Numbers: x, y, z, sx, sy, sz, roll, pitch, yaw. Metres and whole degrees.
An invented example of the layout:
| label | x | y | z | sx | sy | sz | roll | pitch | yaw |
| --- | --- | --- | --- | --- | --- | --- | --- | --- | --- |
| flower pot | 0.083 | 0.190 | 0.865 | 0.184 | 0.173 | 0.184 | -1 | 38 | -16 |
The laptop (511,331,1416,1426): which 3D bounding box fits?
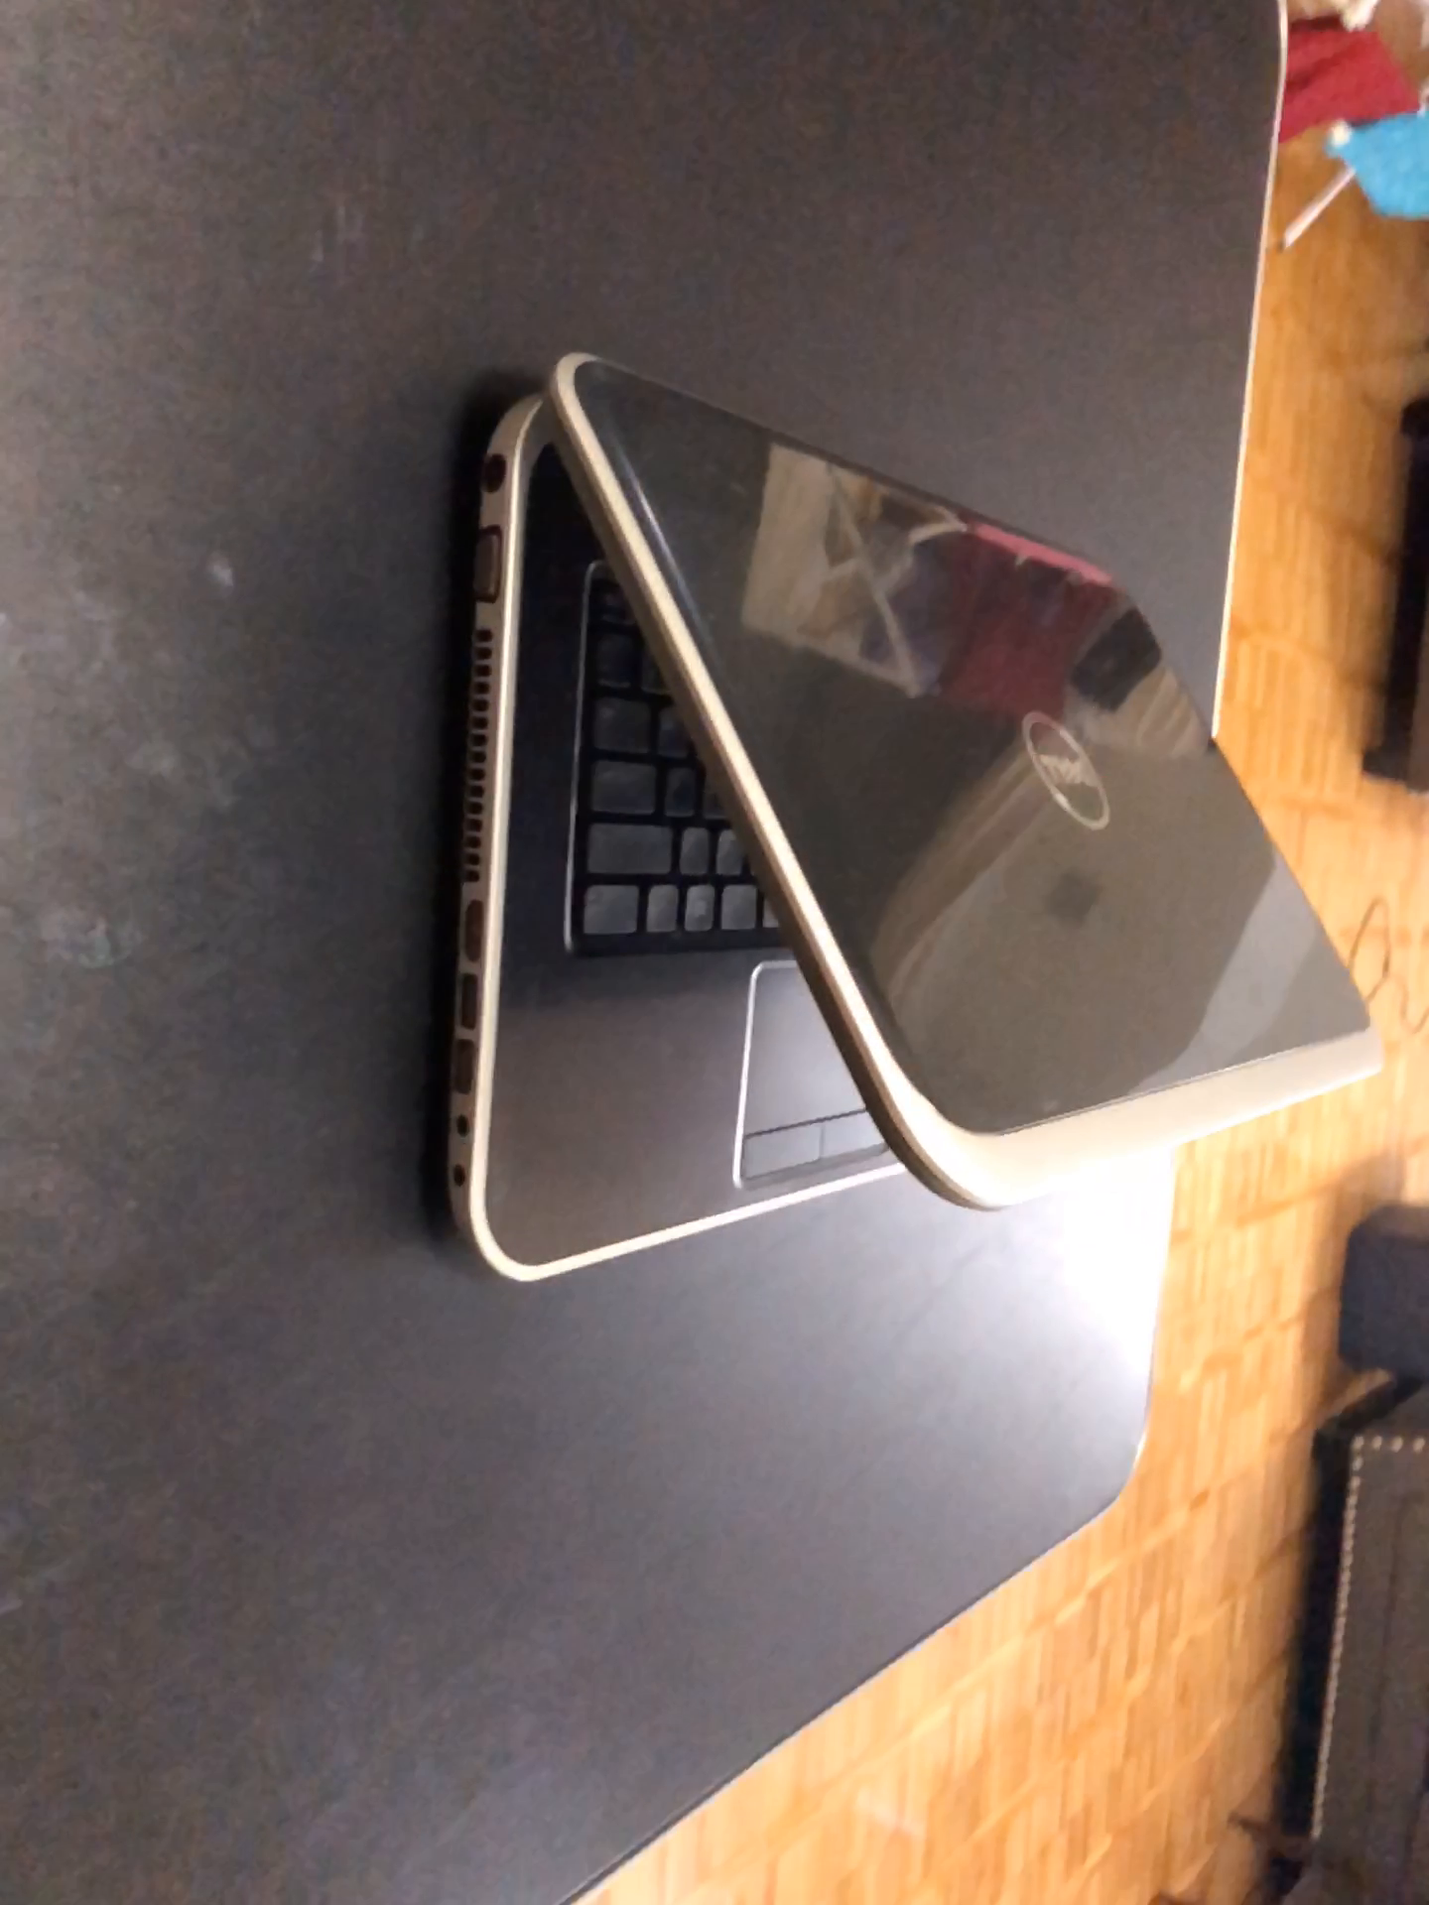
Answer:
| label | x | y | z | sx | sy | sz | roll | pitch | yaw |
| --- | --- | --- | --- | --- | --- | --- | --- | --- | --- |
| laptop | 0.109 | -0.027 | 0.528 | 0.358 | 0.137 | 0.239 | -5 | 99 | -53 |
